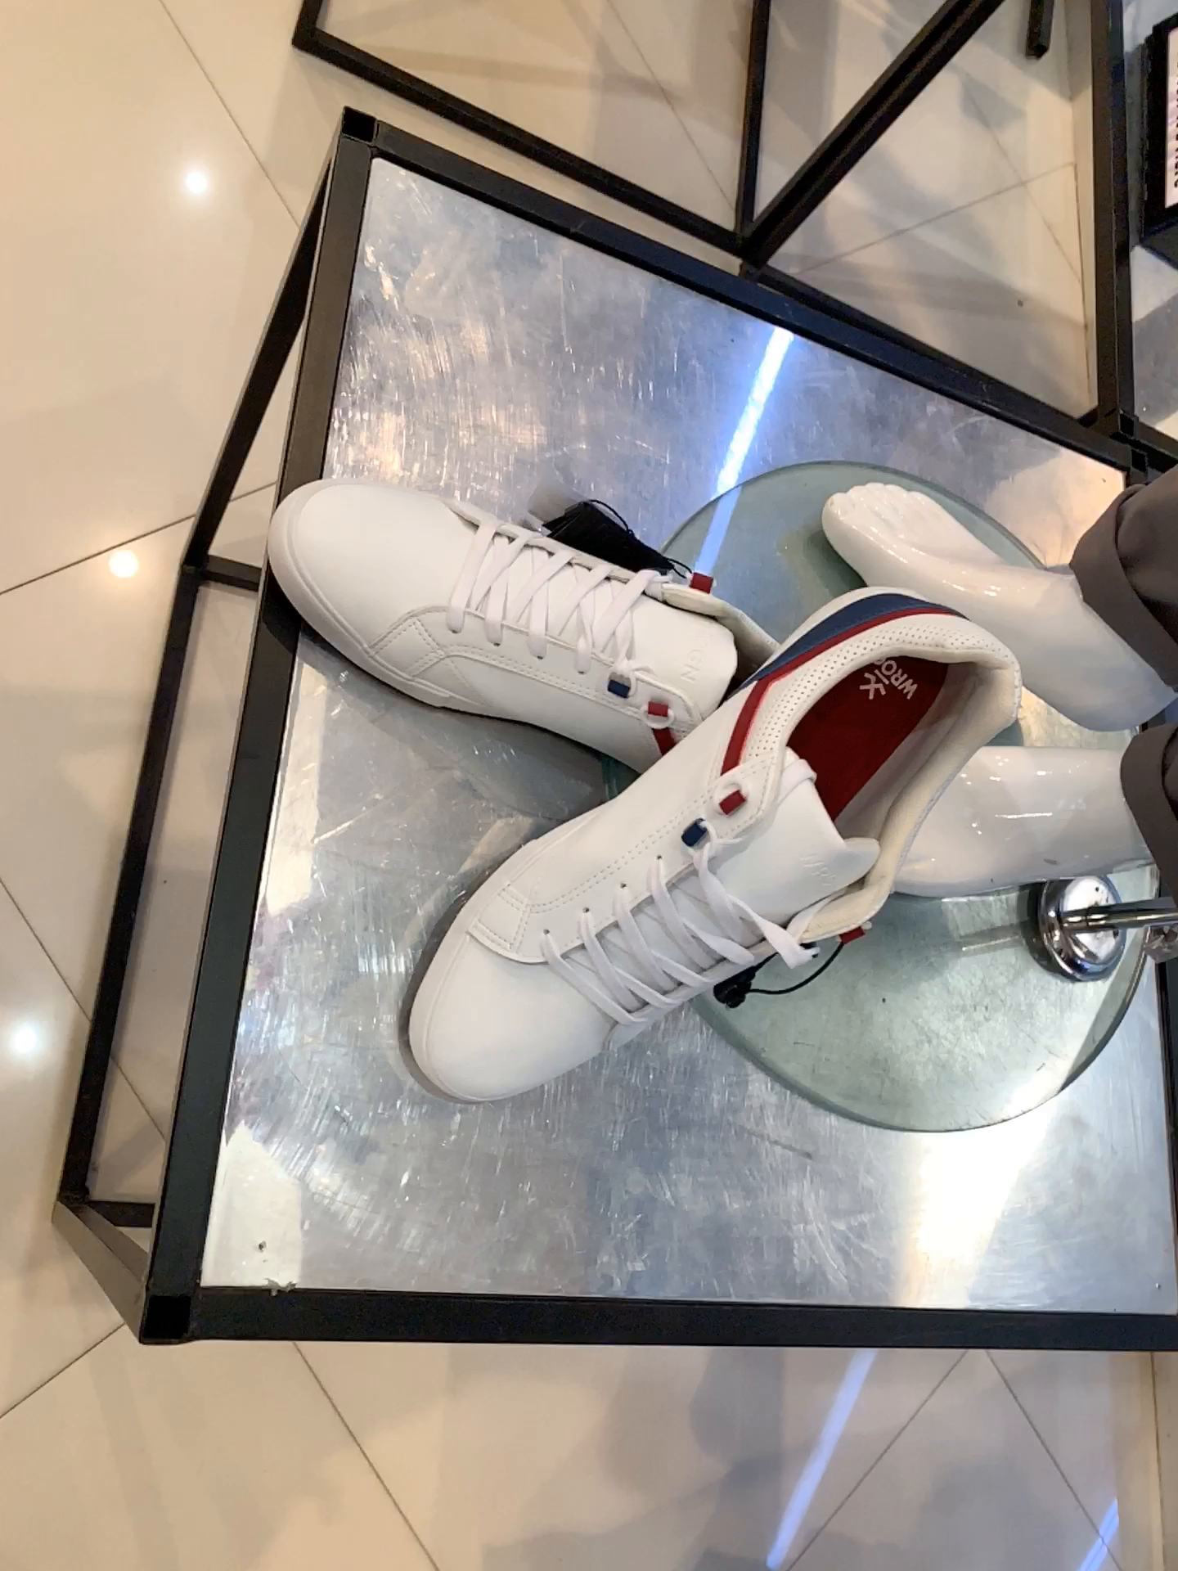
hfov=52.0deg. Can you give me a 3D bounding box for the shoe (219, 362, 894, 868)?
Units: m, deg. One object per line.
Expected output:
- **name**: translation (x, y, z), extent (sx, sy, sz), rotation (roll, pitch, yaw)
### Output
- **shoe**: translation (-0.013, -0.064, 0.562), extent (0.280, 0.100, 0.100), rotation (25, 75, -17)

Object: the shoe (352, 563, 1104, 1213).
- **shoe**: translation (0.054, 0.030, 0.495), extent (0.281, 0.100, 0.100), rotation (-34, 102, -11)
